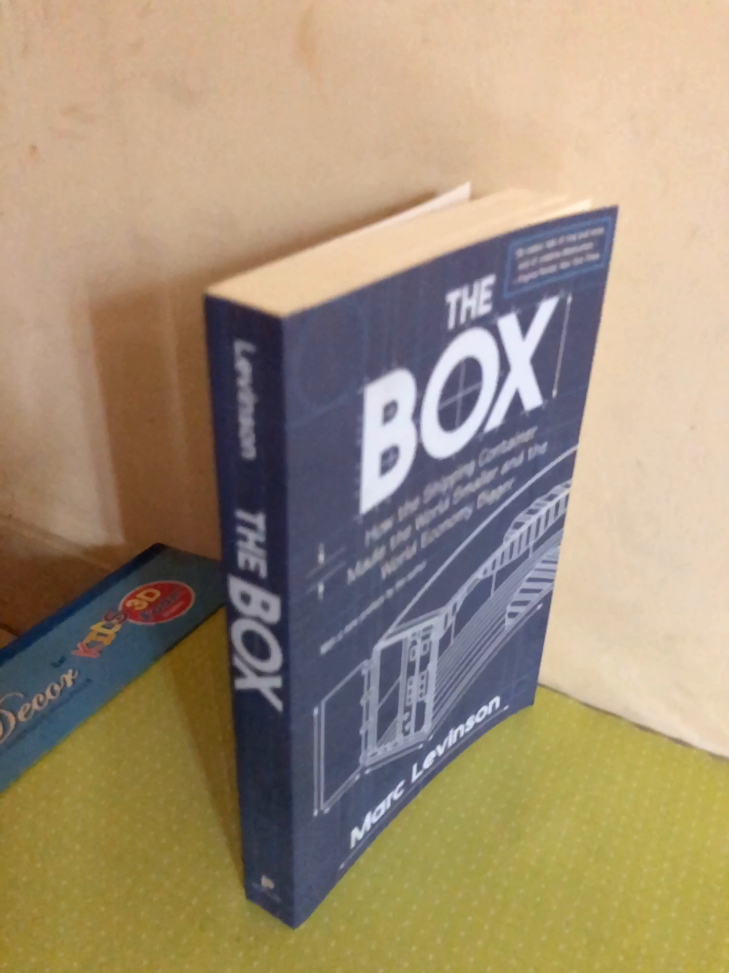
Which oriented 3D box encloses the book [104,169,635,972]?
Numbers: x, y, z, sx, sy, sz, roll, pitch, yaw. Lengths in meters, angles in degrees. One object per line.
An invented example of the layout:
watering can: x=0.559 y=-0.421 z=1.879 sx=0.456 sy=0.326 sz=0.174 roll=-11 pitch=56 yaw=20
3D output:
book: x=0.014 y=0.019 z=0.278 sx=0.050 sy=0.219 sz=0.181 roll=22 pitch=36 yaw=30
